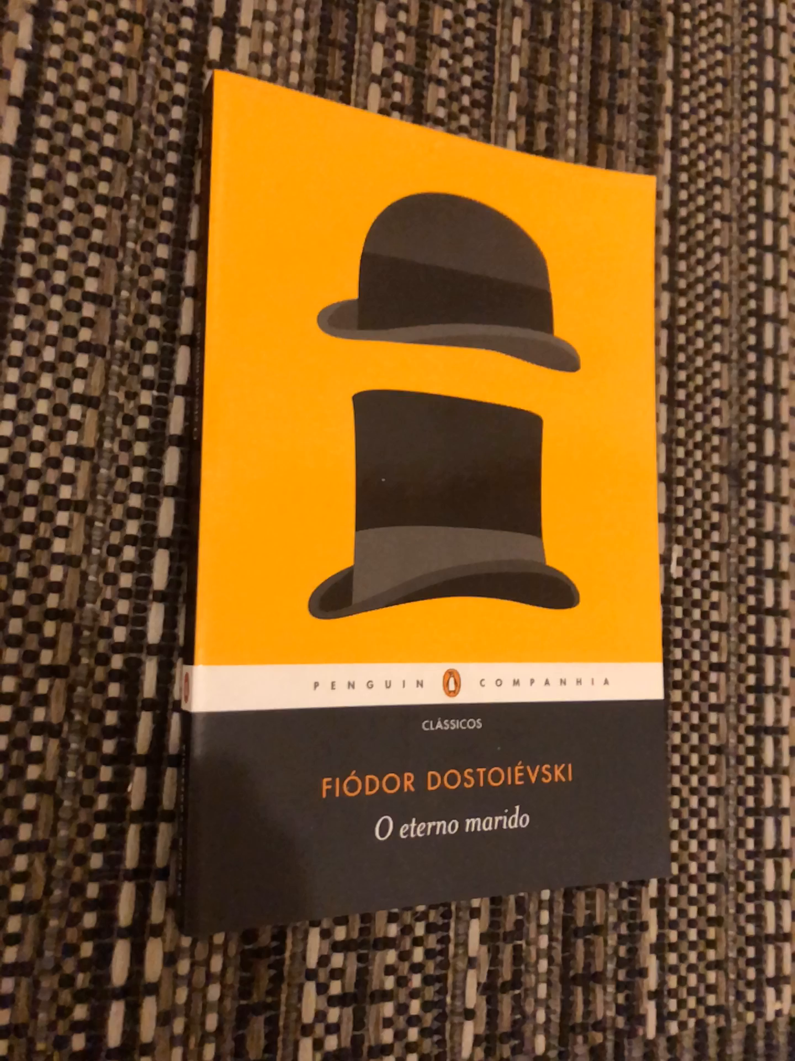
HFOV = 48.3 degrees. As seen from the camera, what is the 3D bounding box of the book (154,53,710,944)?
[{"bbox_3d":[0.014,-0.008,0.213,0.130,0.020,0.180,4,82,-24],"label":"book"}]
